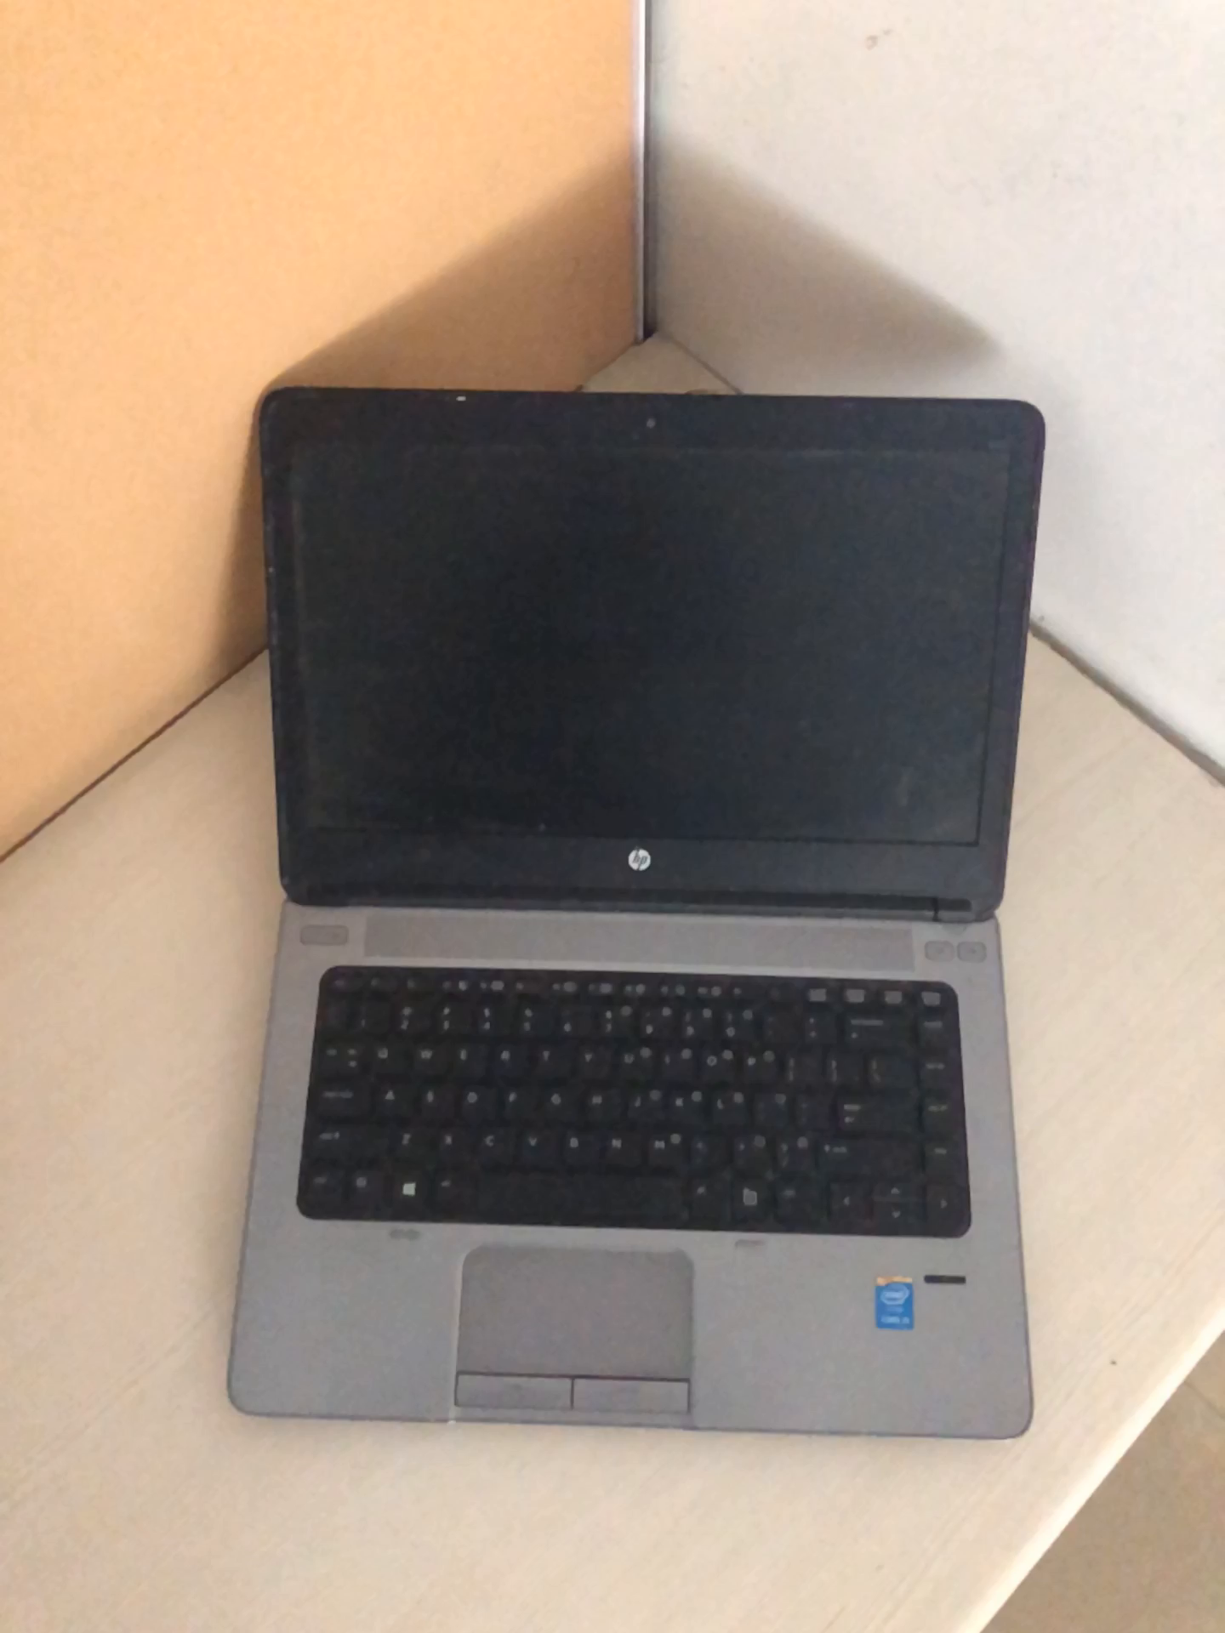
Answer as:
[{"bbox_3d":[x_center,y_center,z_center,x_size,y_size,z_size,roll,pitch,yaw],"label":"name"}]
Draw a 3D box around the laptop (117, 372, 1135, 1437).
[{"bbox_3d":[0.012,0.028,0.544,0.316,0.126,0.391,2,69,1],"label":"laptop"}]
